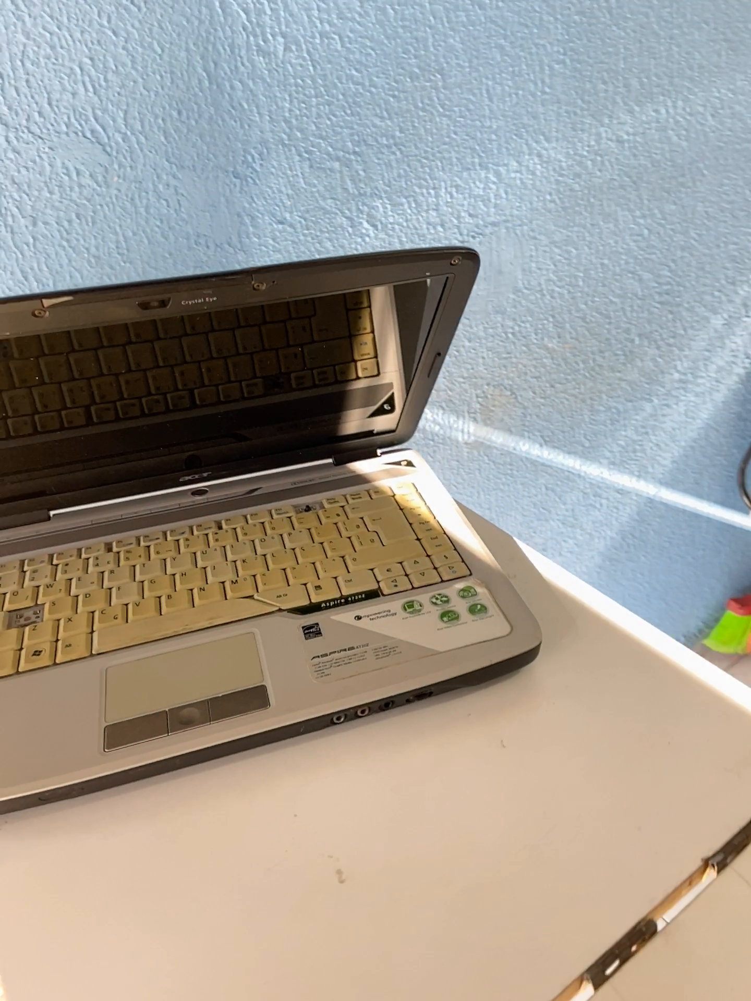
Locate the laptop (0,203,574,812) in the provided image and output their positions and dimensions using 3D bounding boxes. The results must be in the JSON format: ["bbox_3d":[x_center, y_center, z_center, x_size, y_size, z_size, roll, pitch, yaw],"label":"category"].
[{"bbox_3d":[-0.102,-0.027,0.425,0.328,0.179,0.226,-12,33,-12],"label":"laptop"}]
